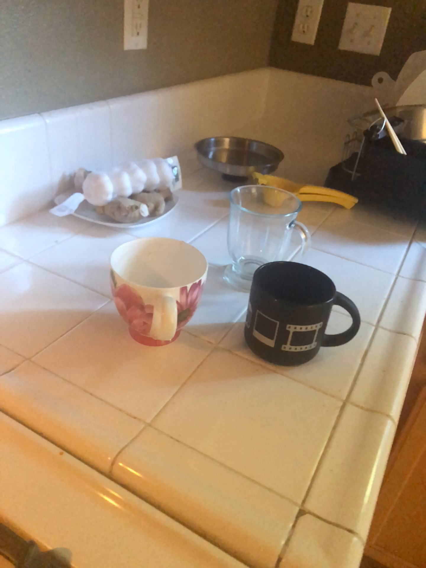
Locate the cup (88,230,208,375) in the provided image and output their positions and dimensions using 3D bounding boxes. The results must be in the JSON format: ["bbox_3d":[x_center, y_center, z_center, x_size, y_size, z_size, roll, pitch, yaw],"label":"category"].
[{"bbox_3d":[-0.065,0.015,0.513,0.110,0.079,0.141,5,34,-4],"label":"cup"}]

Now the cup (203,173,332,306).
[{"bbox_3d":[0.068,-0.065,0.633,0.101,0.119,0.120,-18,42,-34],"label":"cup"}]

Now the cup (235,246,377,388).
[{"bbox_3d":[0.107,0.034,0.538,0.130,0.089,0.101,15,34,11],"label":"cup"}]
